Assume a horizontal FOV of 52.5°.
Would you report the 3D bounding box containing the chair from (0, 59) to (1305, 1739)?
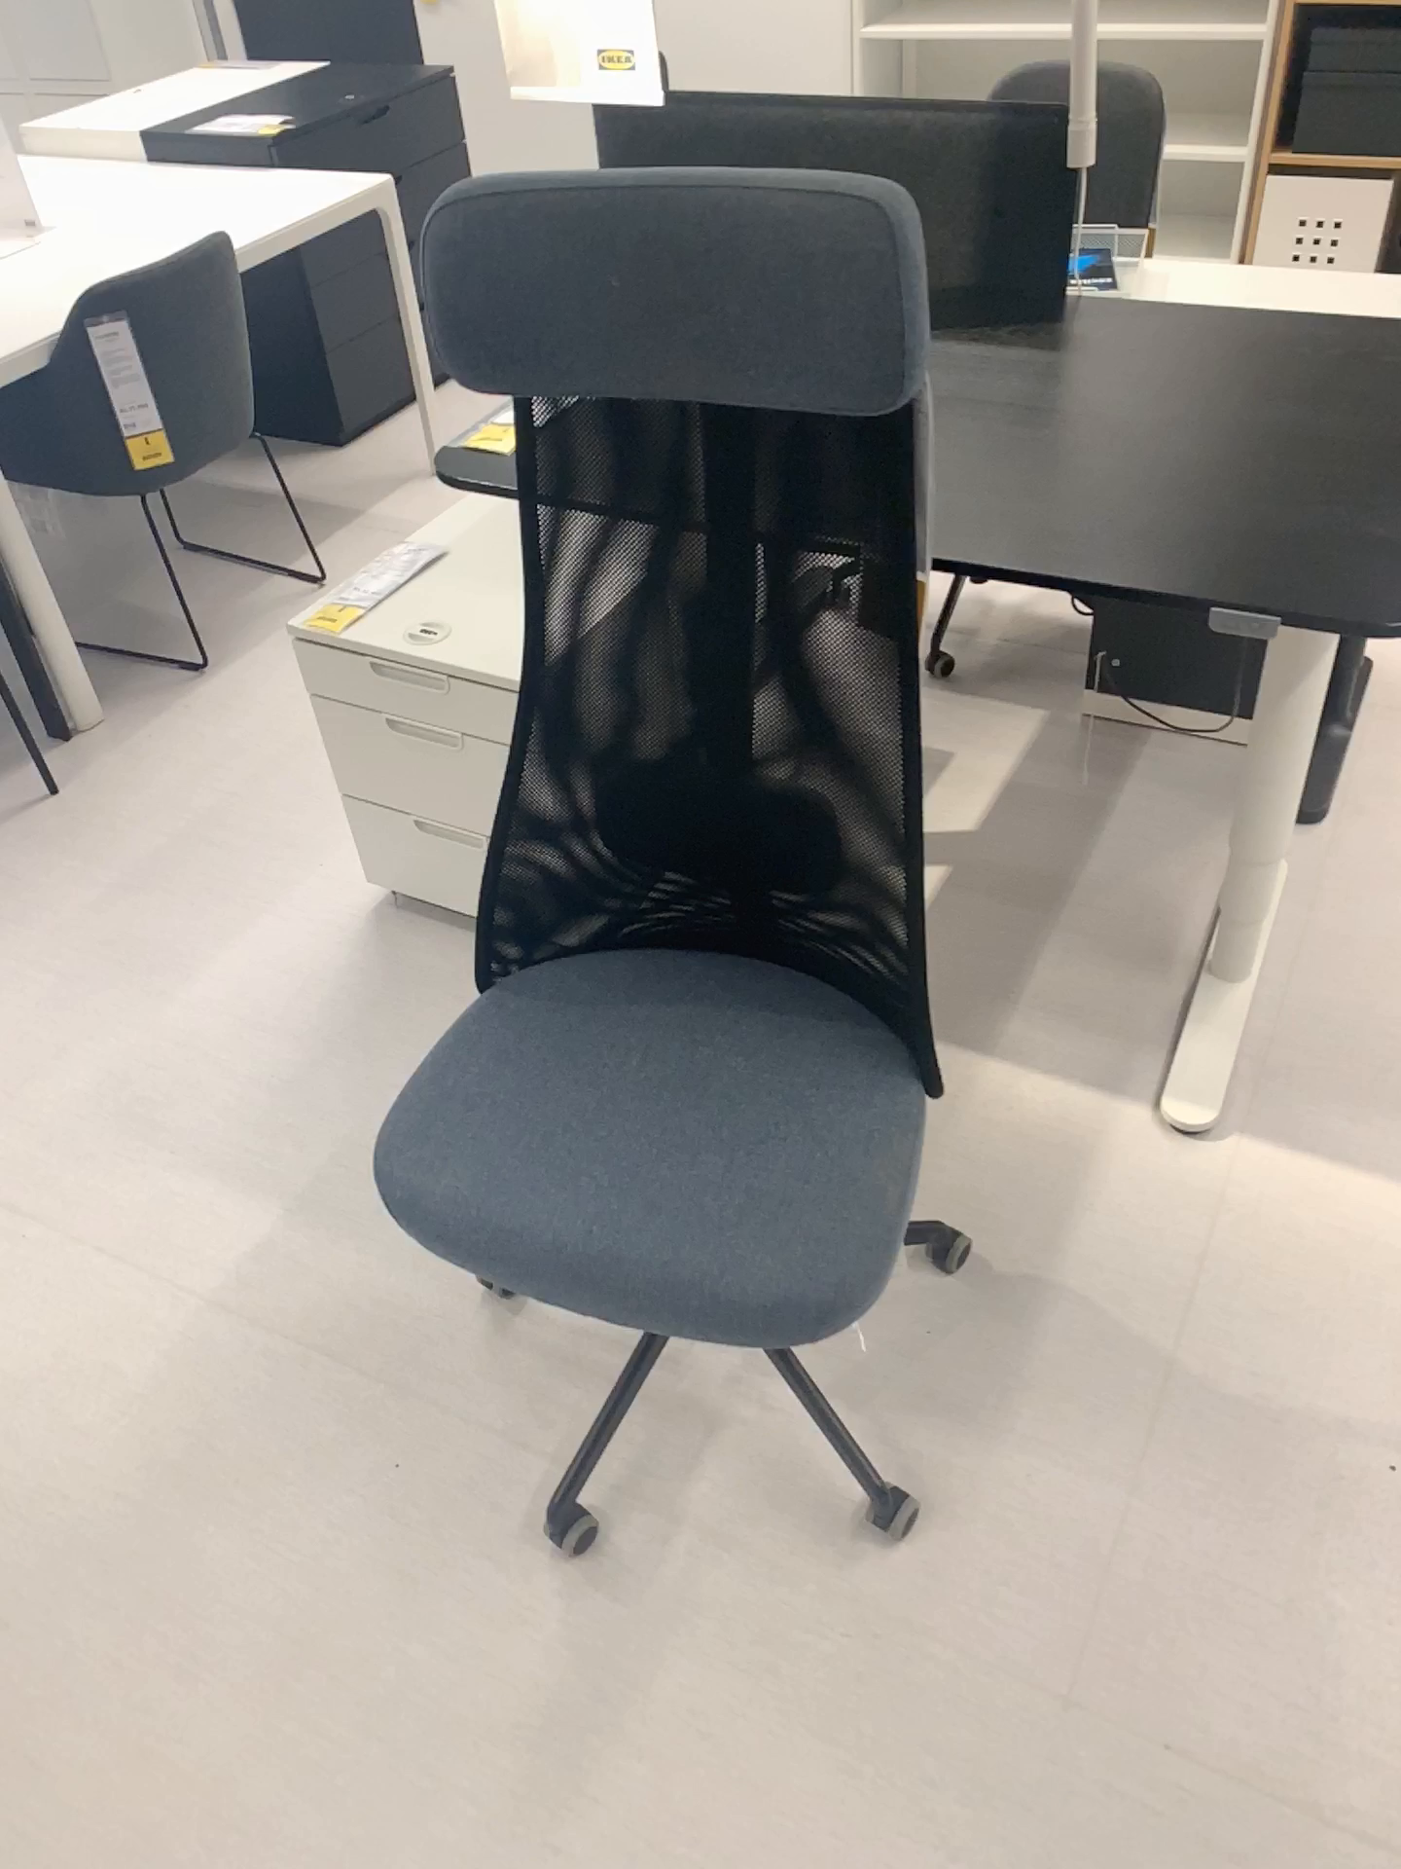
[{"bbox_3d":[0.057,0.005,1.342,0.641,1.304,0.732,13,44,21],"label":"chair"}]
